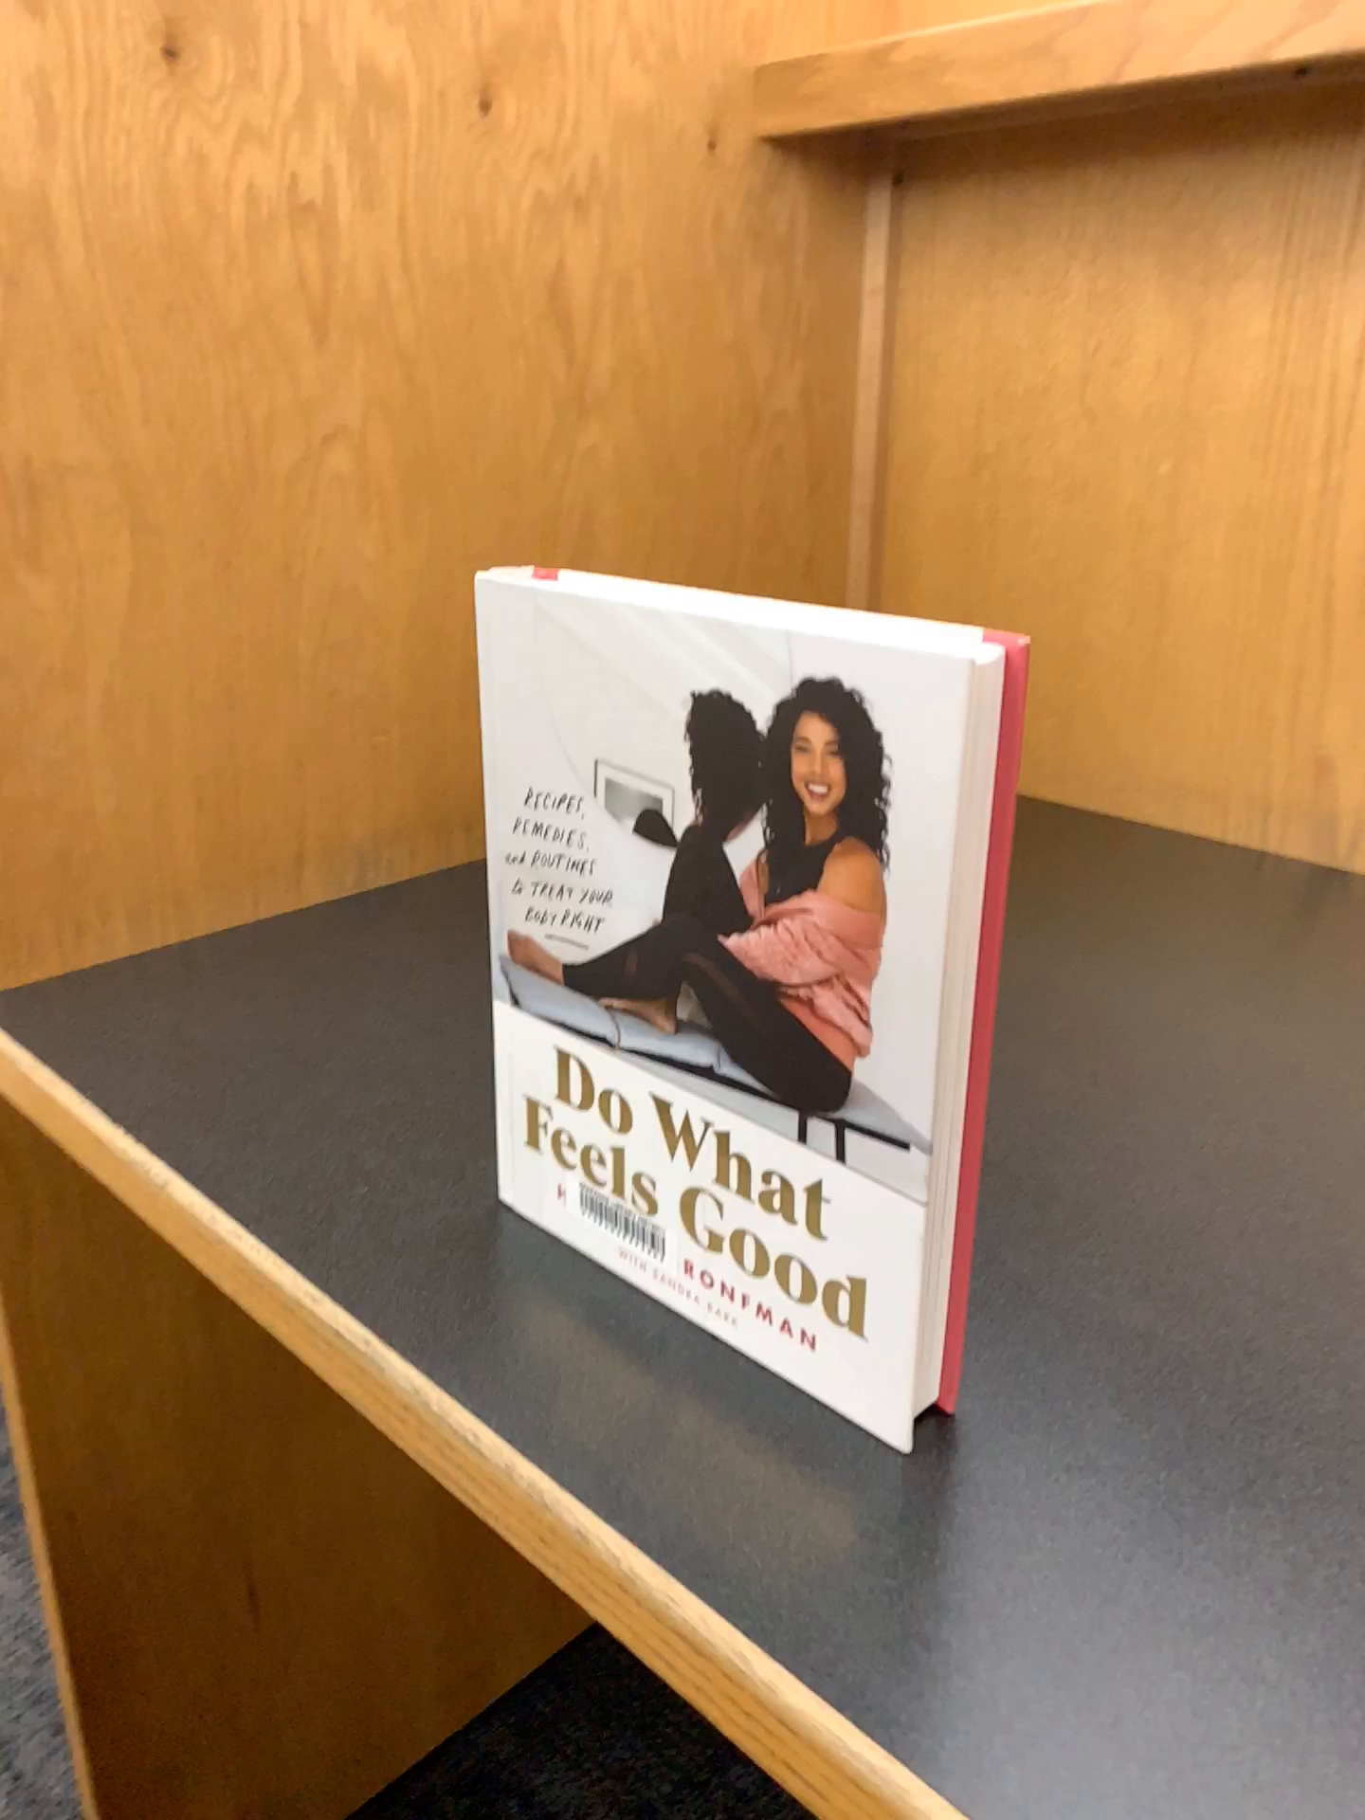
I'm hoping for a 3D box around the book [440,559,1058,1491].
[{"bbox_3d":[0.006,0.025,0.449,0.211,0.249,0.030,18,27,40],"label":"book"}]
